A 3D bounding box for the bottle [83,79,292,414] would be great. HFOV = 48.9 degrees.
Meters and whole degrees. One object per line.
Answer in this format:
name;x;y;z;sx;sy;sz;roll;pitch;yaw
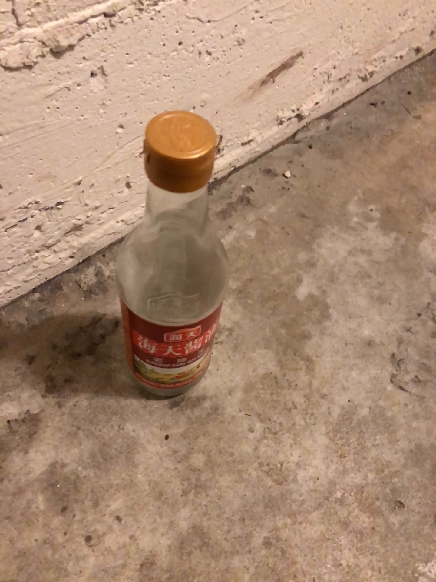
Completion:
bottle;-0.024;-0.001;0.290;0.070;0.229;0.070;3;59;-4
